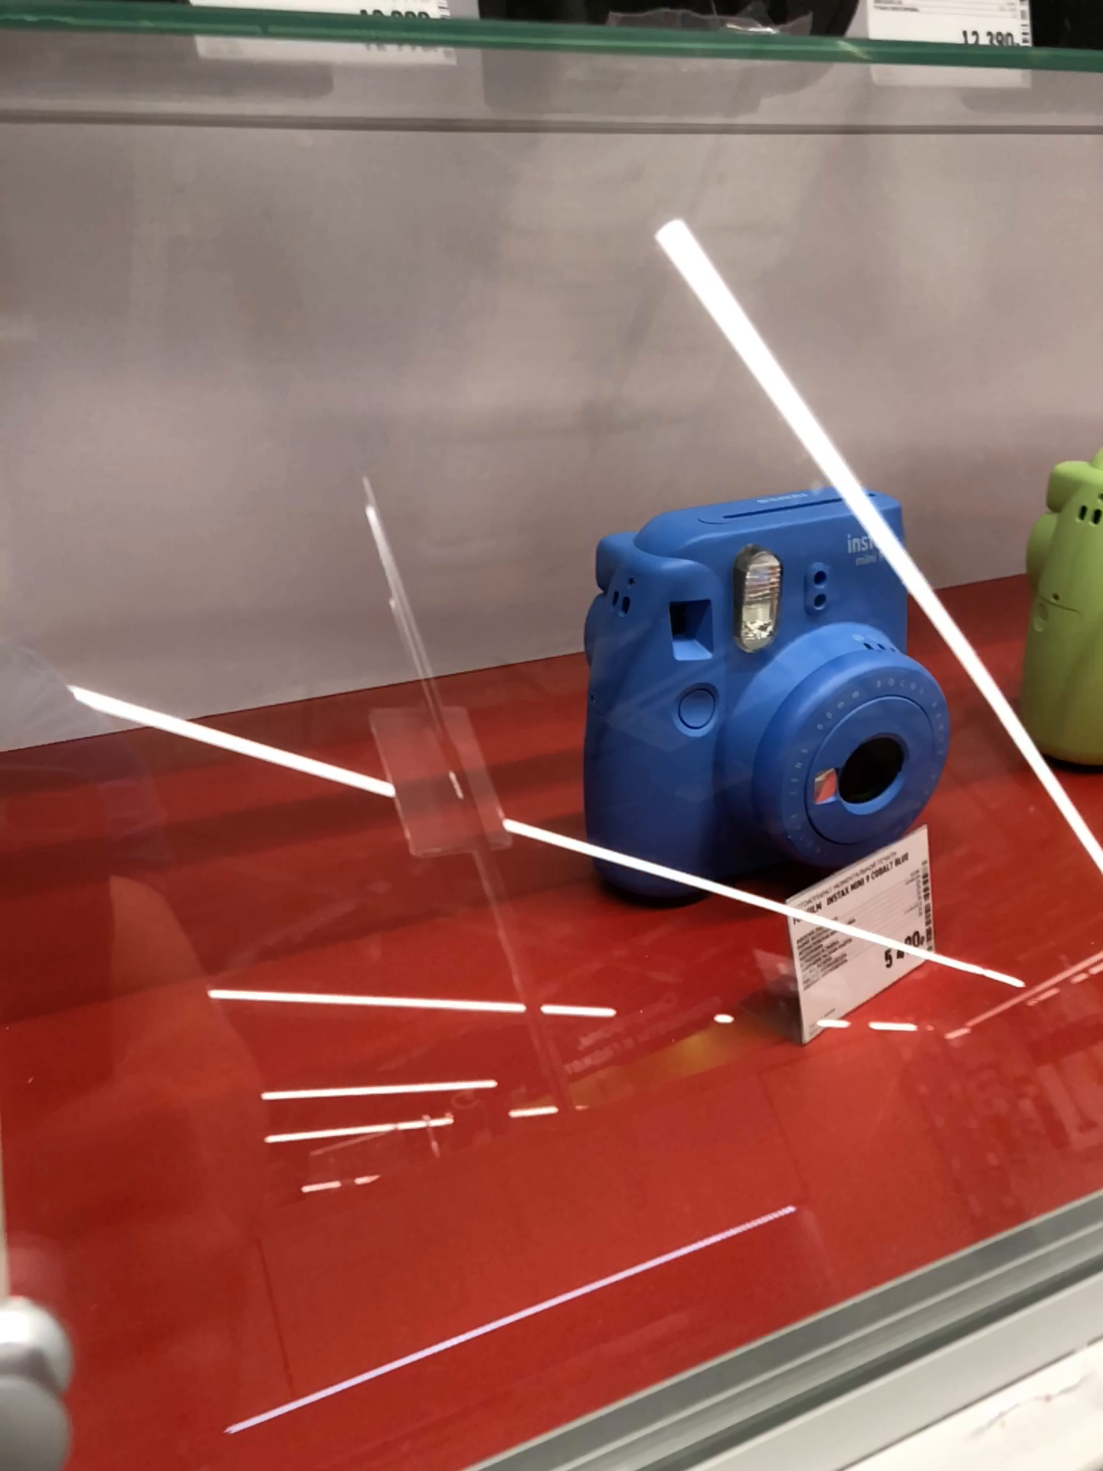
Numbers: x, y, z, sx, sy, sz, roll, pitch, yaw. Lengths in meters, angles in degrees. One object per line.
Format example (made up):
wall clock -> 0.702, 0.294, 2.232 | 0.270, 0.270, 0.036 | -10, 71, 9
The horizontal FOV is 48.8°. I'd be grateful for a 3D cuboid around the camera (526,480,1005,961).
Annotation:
camera -> 0.063, -0.011, 0.379 | 0.123, 0.109, 0.070 | -14, 27, -28
